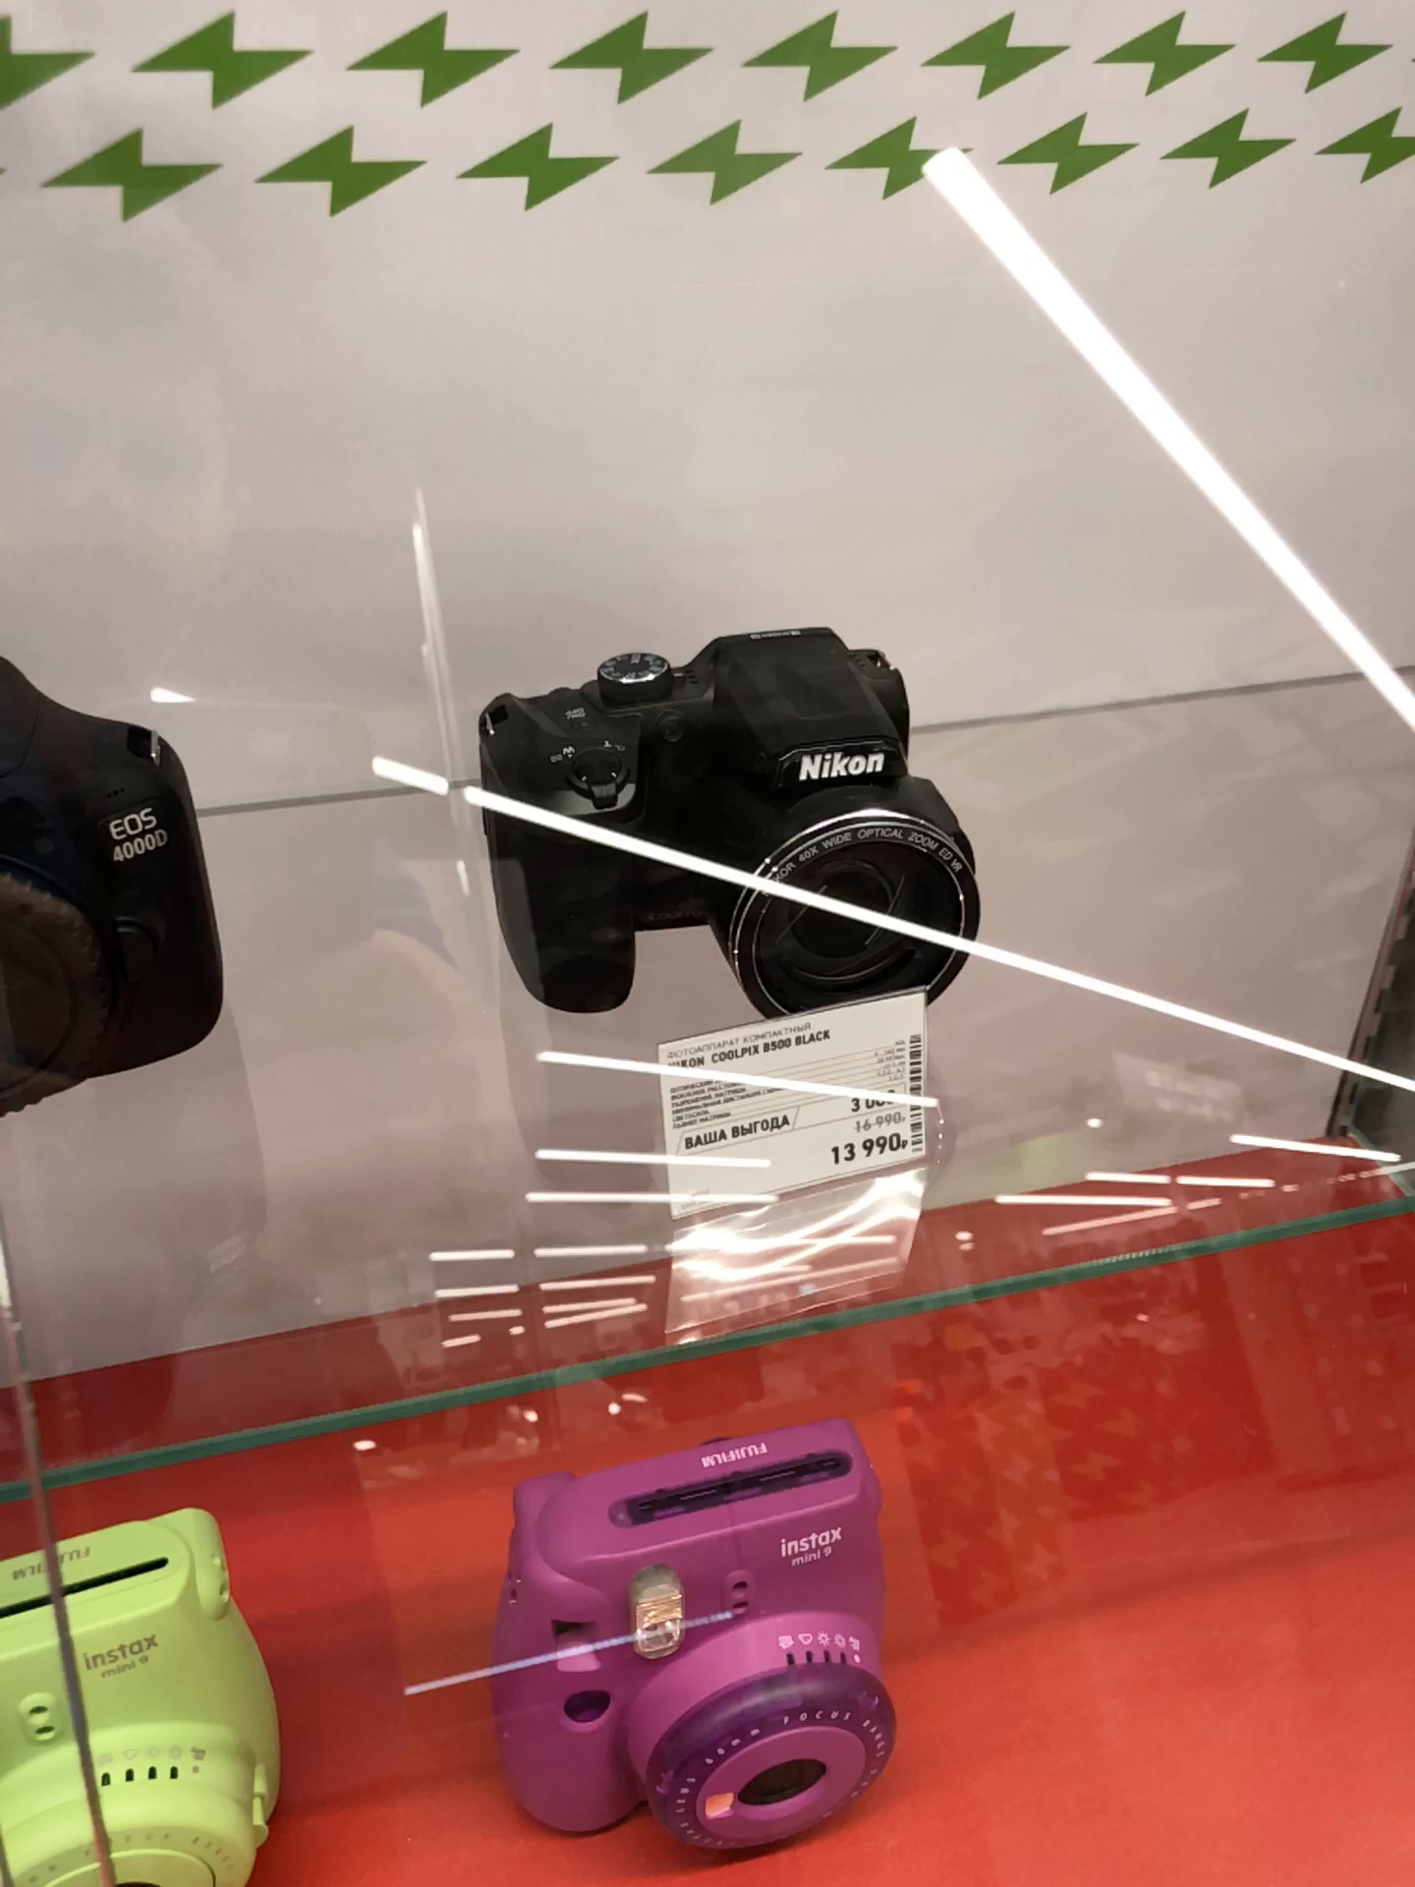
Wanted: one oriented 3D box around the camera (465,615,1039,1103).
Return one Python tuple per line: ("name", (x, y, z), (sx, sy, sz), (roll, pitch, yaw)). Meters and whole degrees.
("camera", (0.005, -0.027, 0.392), (0.115, 0.070, 0.101), (-7, 34, -12))
